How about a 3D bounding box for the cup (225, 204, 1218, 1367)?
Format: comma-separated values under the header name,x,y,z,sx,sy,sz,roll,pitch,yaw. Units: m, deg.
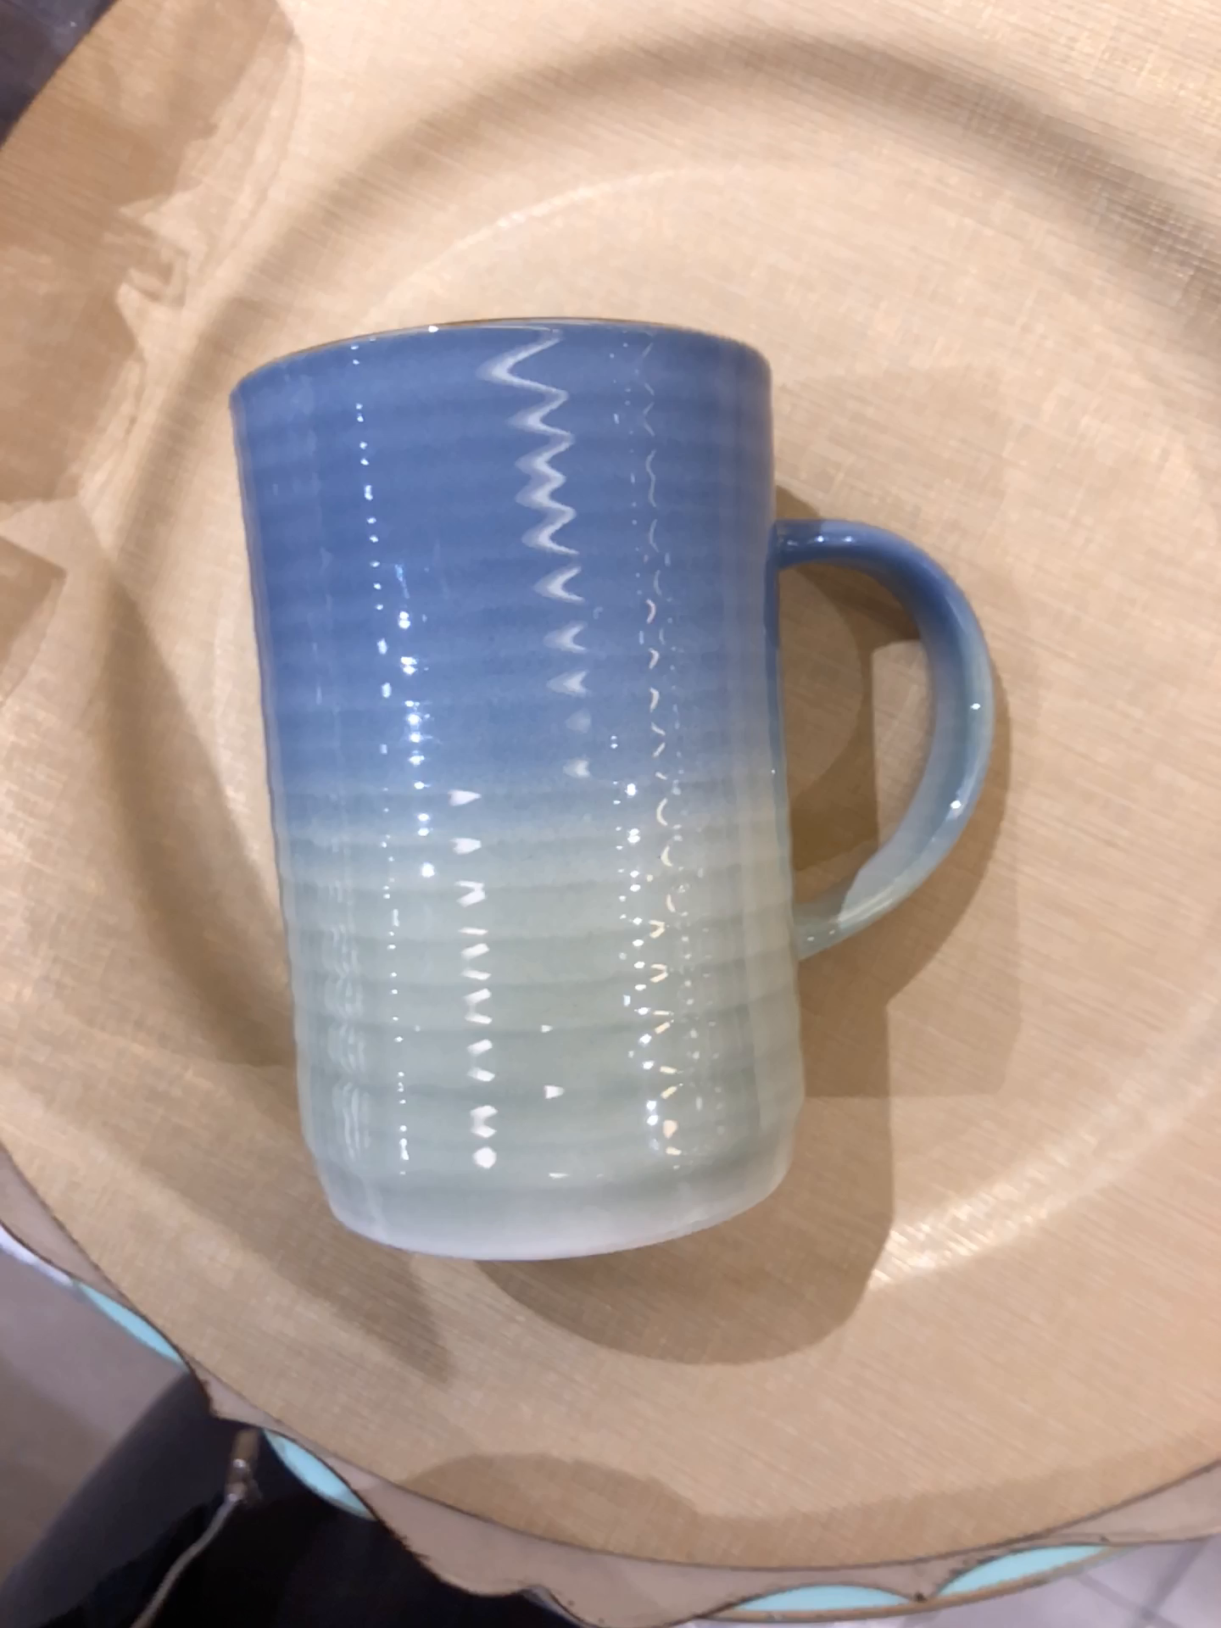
name,x,y,z,sx,sy,sz,roll,pitch,yaw
cup,0.013,-0.007,0.204,0.120,0.060,0.140,-4,91,-8
